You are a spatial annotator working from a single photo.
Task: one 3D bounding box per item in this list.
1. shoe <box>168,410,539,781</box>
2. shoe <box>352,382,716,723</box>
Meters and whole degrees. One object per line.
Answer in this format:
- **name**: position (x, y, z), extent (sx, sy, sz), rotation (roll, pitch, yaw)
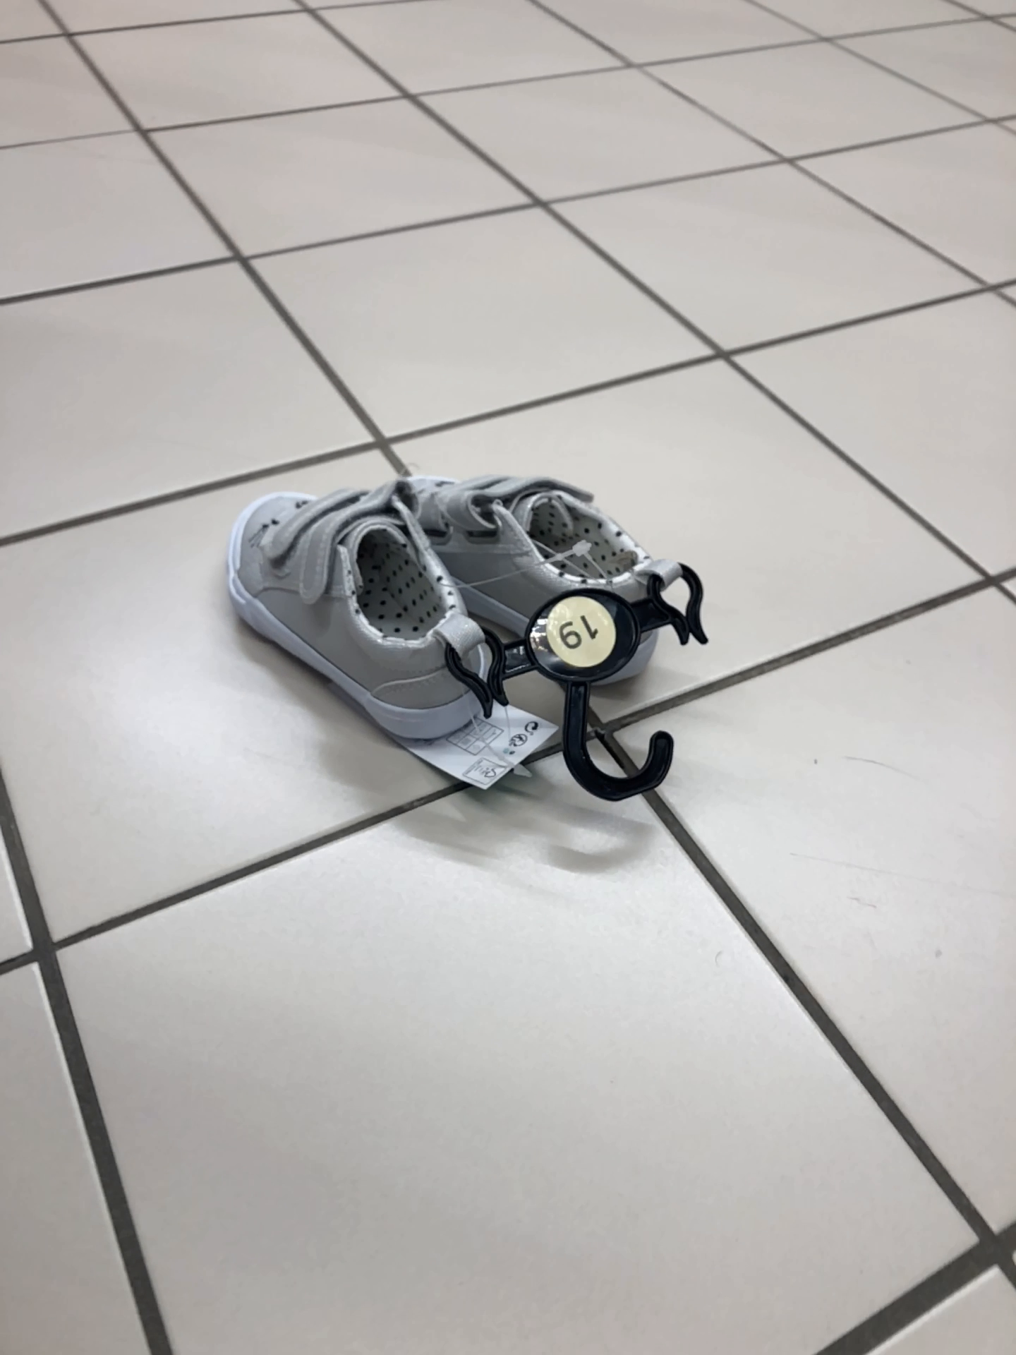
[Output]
- **shoe**: position (-0.060, -0.036, 0.423), extent (0.064, 0.053, 0.138), rotation (-30, 55, -29)
- **shoe**: position (0.005, -0.053, 0.443), extent (0.059, 0.053, 0.138), rotation (-32, 56, -30)
